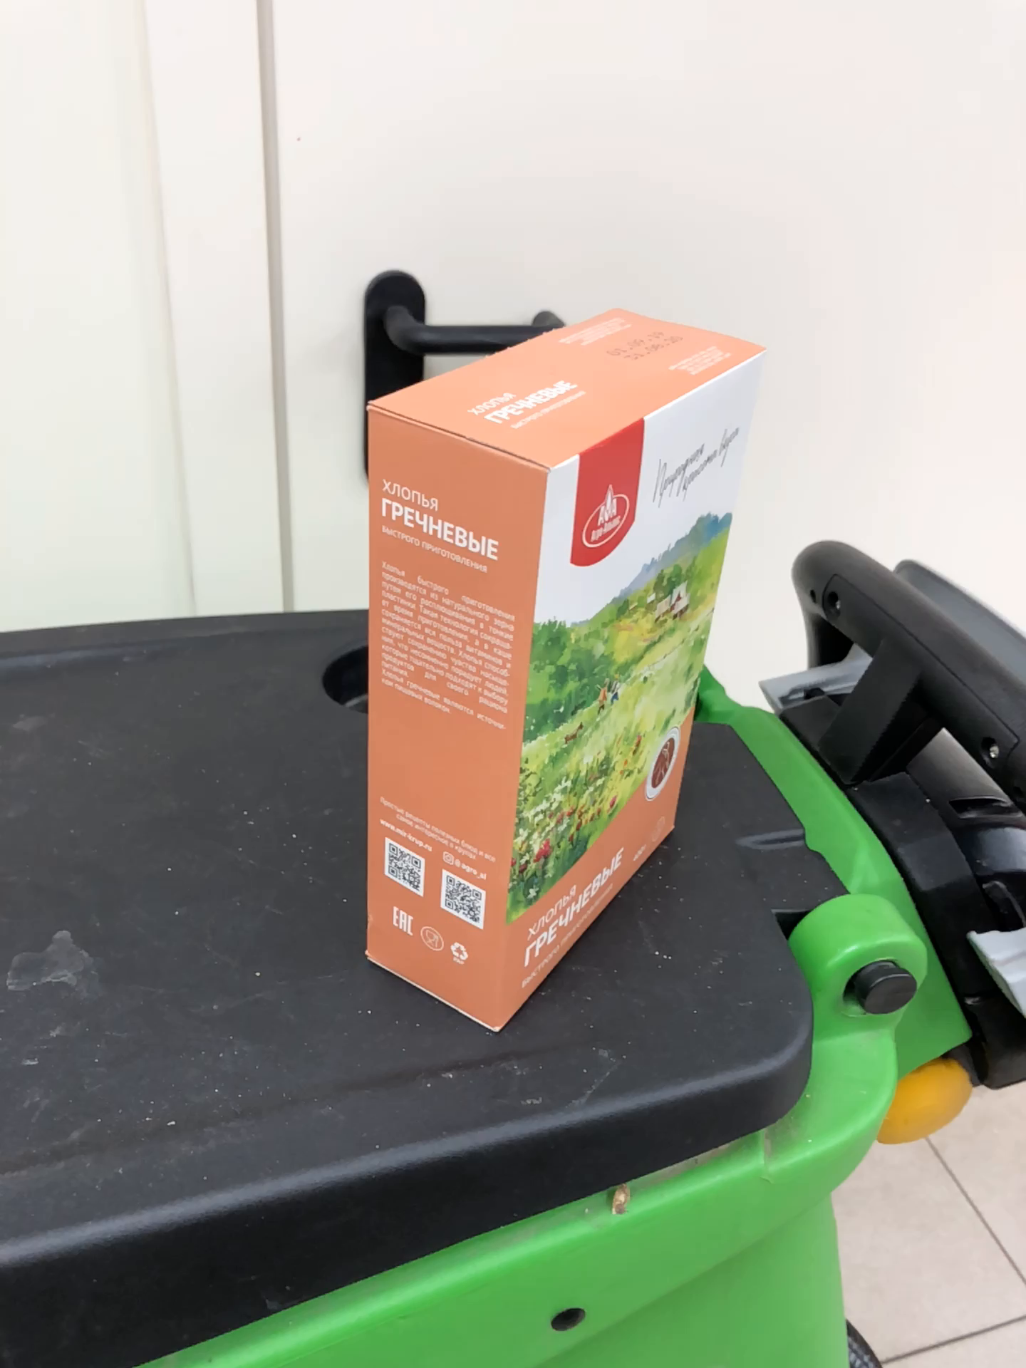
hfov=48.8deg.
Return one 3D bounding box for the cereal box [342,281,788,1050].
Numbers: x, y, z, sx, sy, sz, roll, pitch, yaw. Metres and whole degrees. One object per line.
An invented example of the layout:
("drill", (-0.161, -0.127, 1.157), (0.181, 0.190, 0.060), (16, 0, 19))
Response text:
("cereal box", (0.014, -0.008, 0.375), (0.060, 0.209, 0.141), (24, 37, 24))
